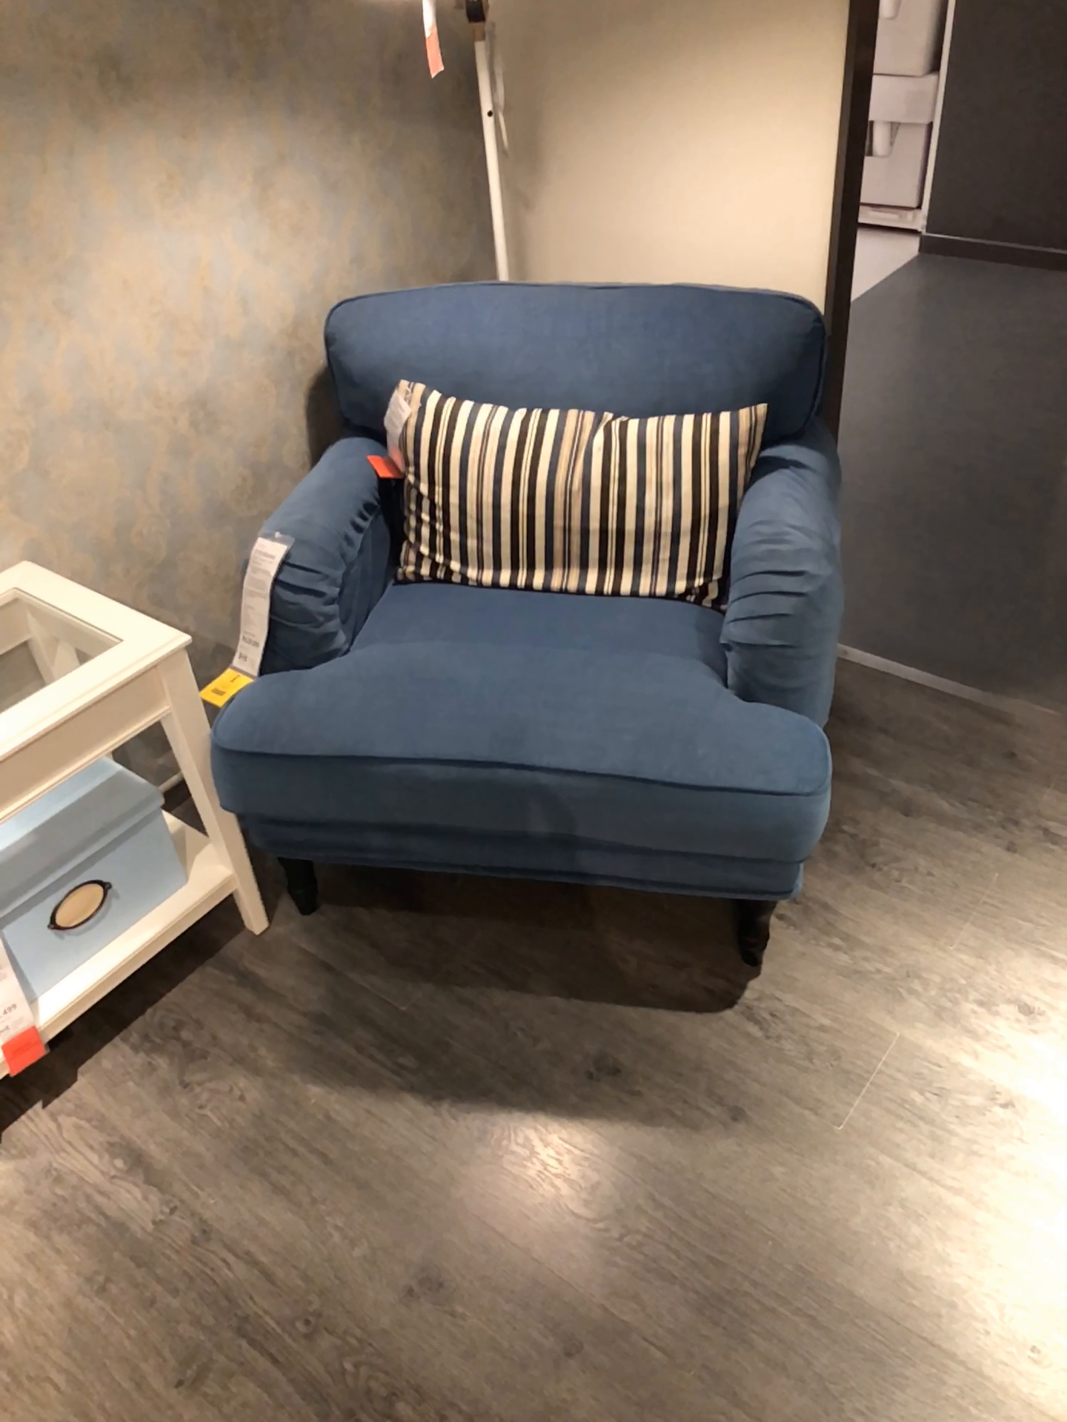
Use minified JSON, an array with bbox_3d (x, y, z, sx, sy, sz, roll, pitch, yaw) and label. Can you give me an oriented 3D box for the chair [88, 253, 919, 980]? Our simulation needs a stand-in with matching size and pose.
[{"bbox_3d":[0.040,-0.194,1.739,0.890,0.695,0.805,4,38,11],"label":"chair"}]
